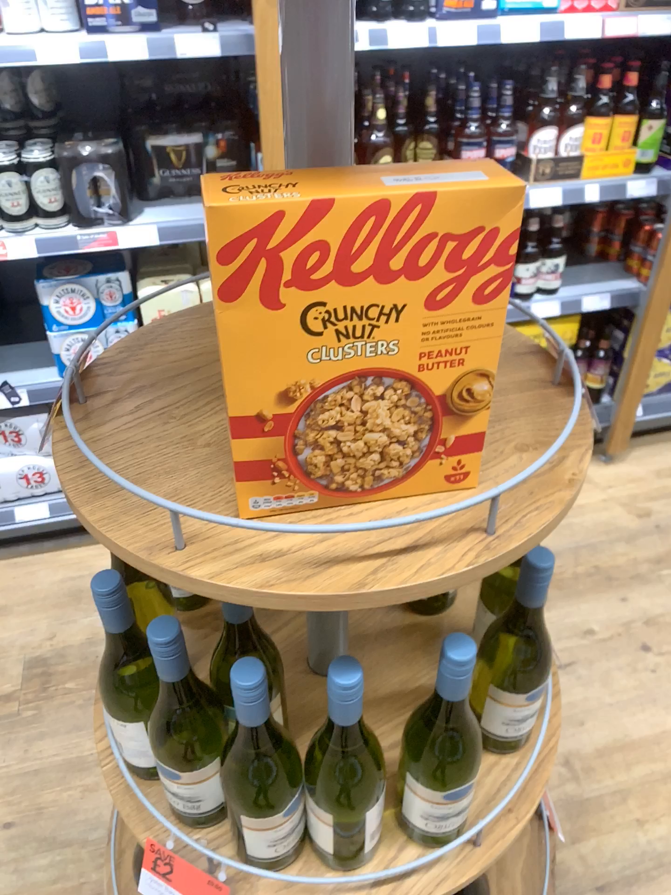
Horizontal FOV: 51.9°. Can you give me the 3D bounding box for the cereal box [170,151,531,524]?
[{"bbox_3d":[0.008,-0.070,0.488,0.210,0.238,0.061,-8,38,-10],"label":"cereal box"}]
